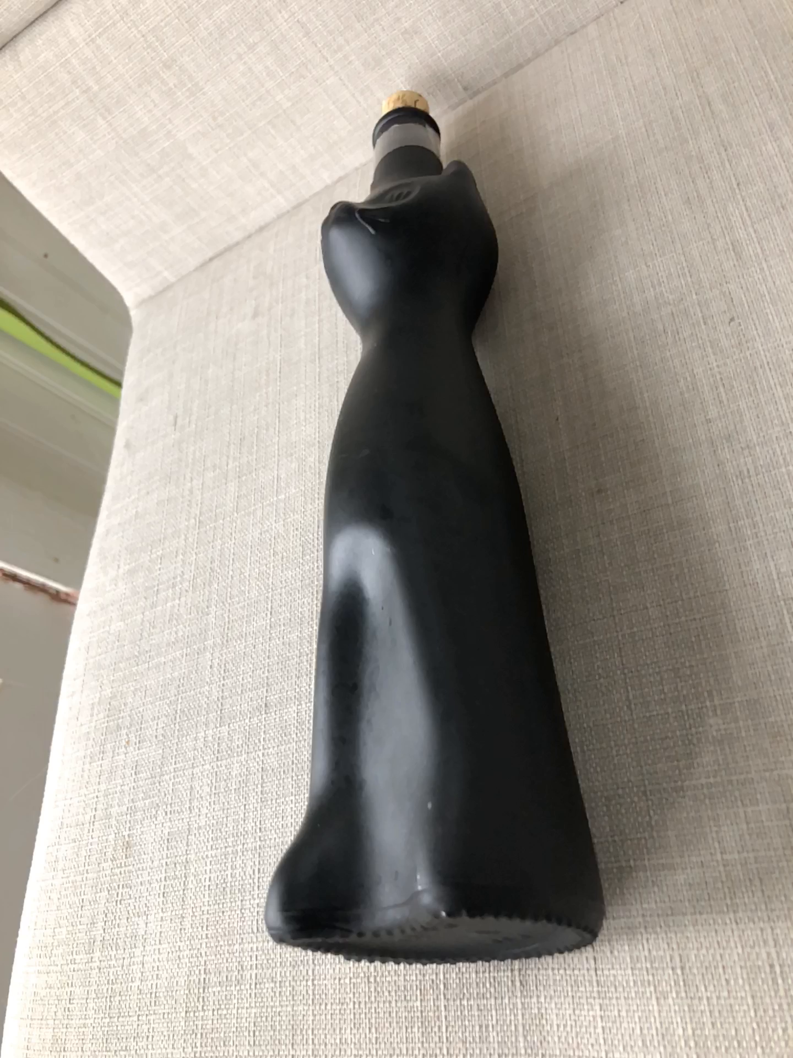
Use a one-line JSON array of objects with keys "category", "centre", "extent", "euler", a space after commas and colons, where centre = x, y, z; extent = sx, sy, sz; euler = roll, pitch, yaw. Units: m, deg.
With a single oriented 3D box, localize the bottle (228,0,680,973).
[{"category": "bottle", "centre": [0.007, -0.034, 0.289], "extent": [0.077, 0.079, 0.312], "euler": [-21, 55, 26]}]
